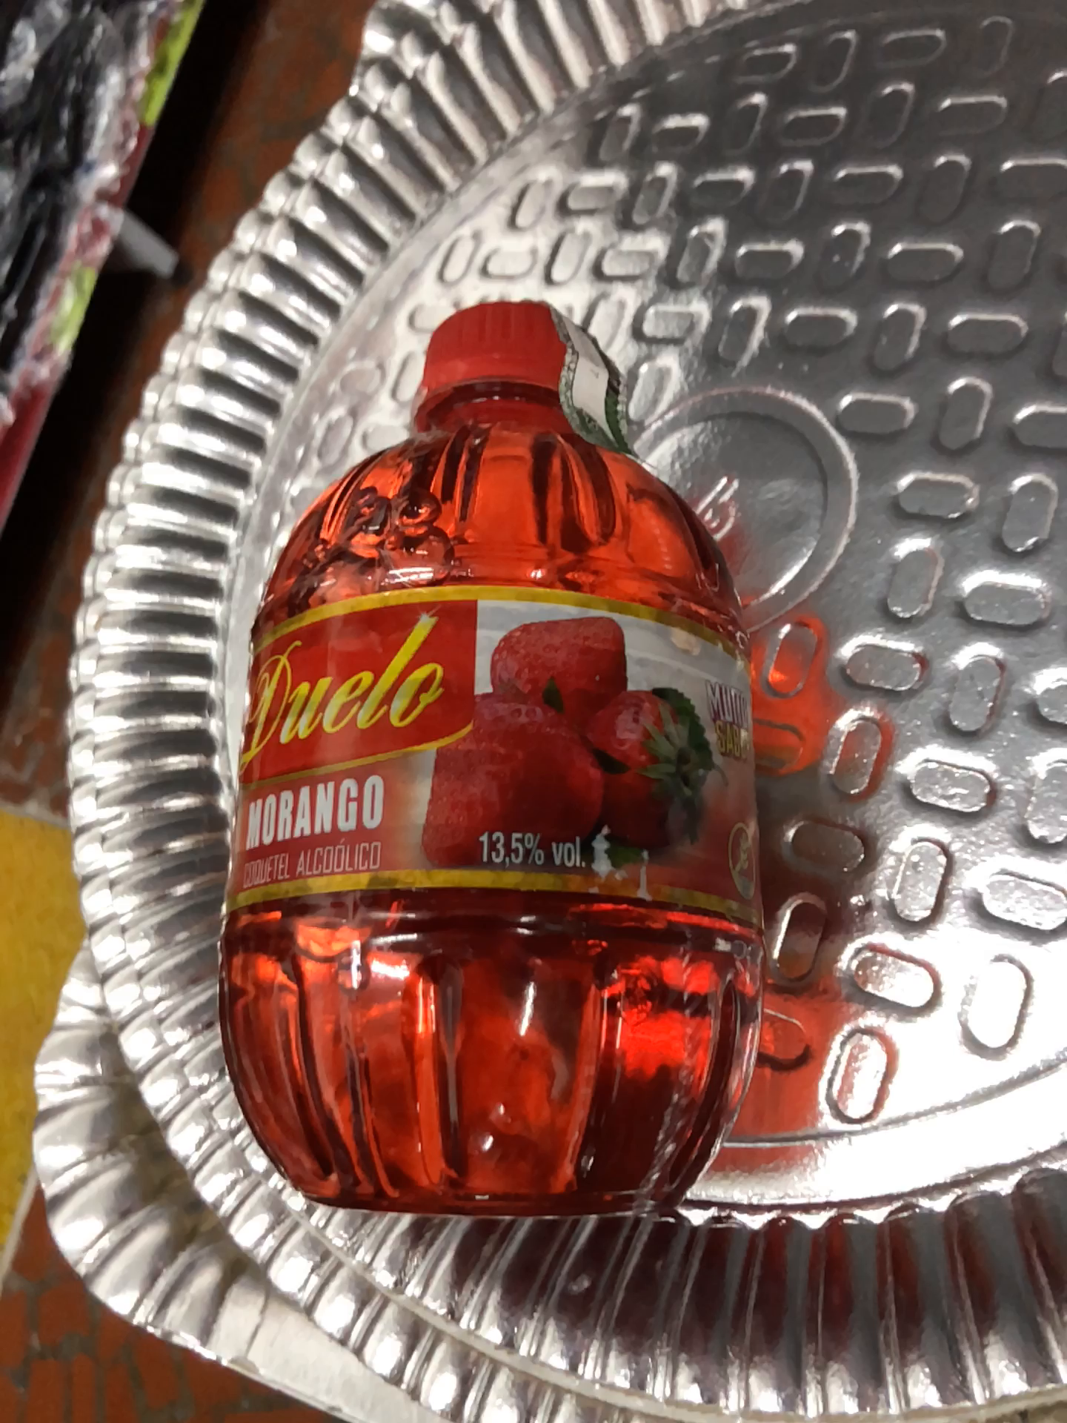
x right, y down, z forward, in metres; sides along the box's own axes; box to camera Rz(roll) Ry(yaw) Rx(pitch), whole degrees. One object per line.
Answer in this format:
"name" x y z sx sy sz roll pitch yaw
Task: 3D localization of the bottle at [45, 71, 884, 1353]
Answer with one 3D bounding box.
"bottle" -0.006 0.003 0.185 0.090 0.070 0.150 -9 71 28
